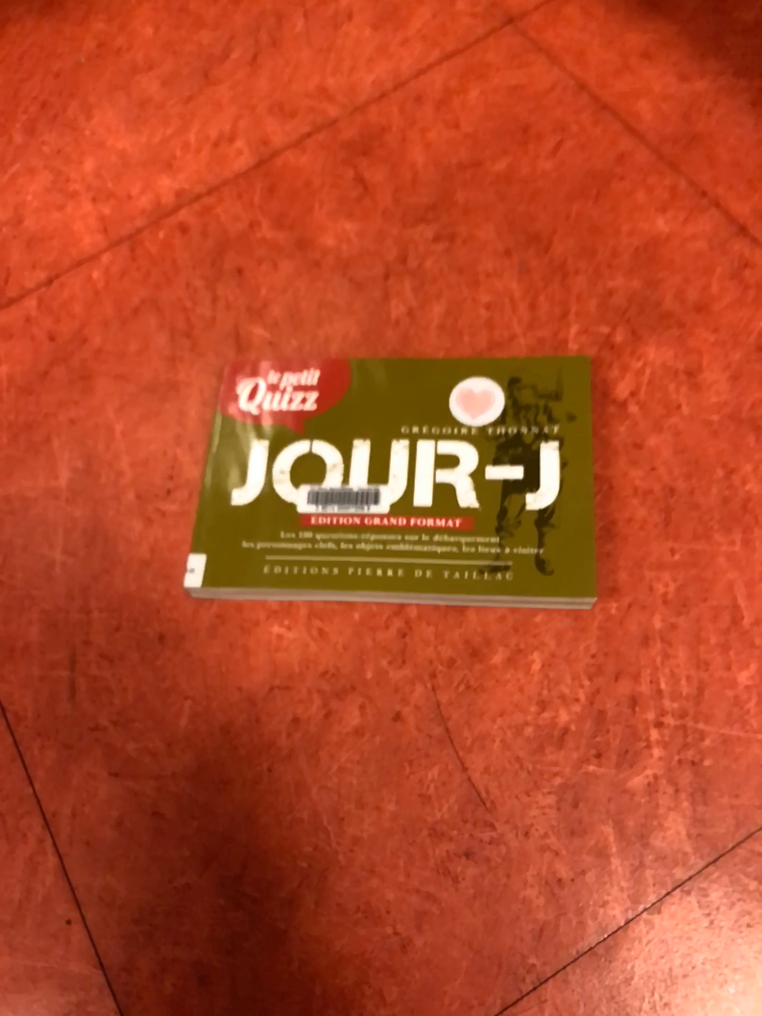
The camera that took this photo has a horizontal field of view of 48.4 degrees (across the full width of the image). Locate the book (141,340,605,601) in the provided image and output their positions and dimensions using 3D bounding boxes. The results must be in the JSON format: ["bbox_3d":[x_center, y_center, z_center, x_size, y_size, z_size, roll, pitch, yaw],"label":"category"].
[{"bbox_3d":[-0.003,-0.022,0.431,0.218,0.016,0.137,0,65,6],"label":"book"}]
